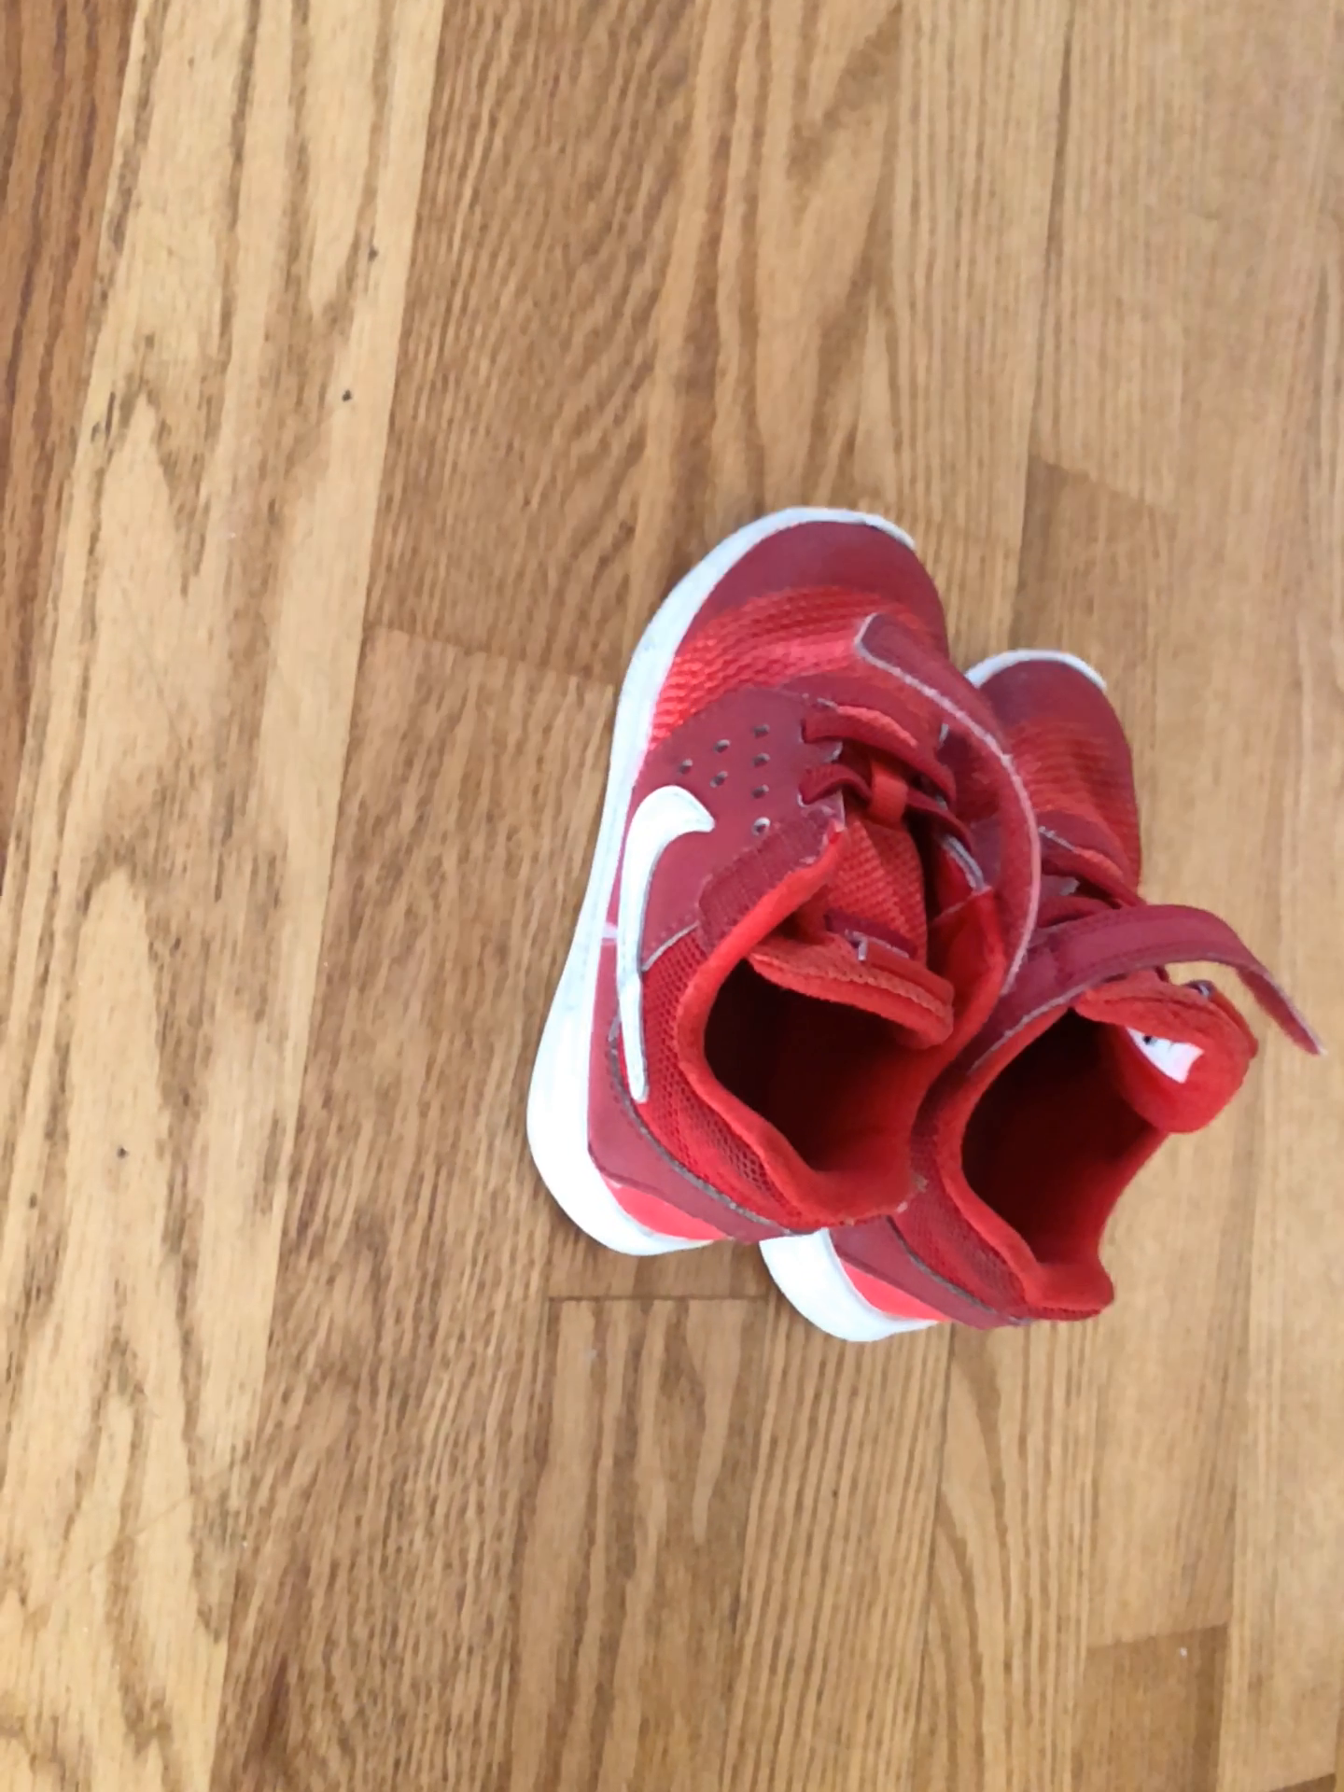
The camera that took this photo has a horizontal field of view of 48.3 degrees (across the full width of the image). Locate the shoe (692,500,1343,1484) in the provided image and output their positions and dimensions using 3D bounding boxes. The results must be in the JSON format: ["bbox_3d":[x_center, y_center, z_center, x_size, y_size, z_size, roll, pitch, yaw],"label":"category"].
[{"bbox_3d":[0.087,0.020,0.330,0.089,0.069,0.177,29,73,-29],"label":"shoe"}]

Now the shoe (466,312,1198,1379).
[{"bbox_3d":[0.034,-0.007,0.298,0.081,0.069,0.175,23,76,-31],"label":"shoe"}]
